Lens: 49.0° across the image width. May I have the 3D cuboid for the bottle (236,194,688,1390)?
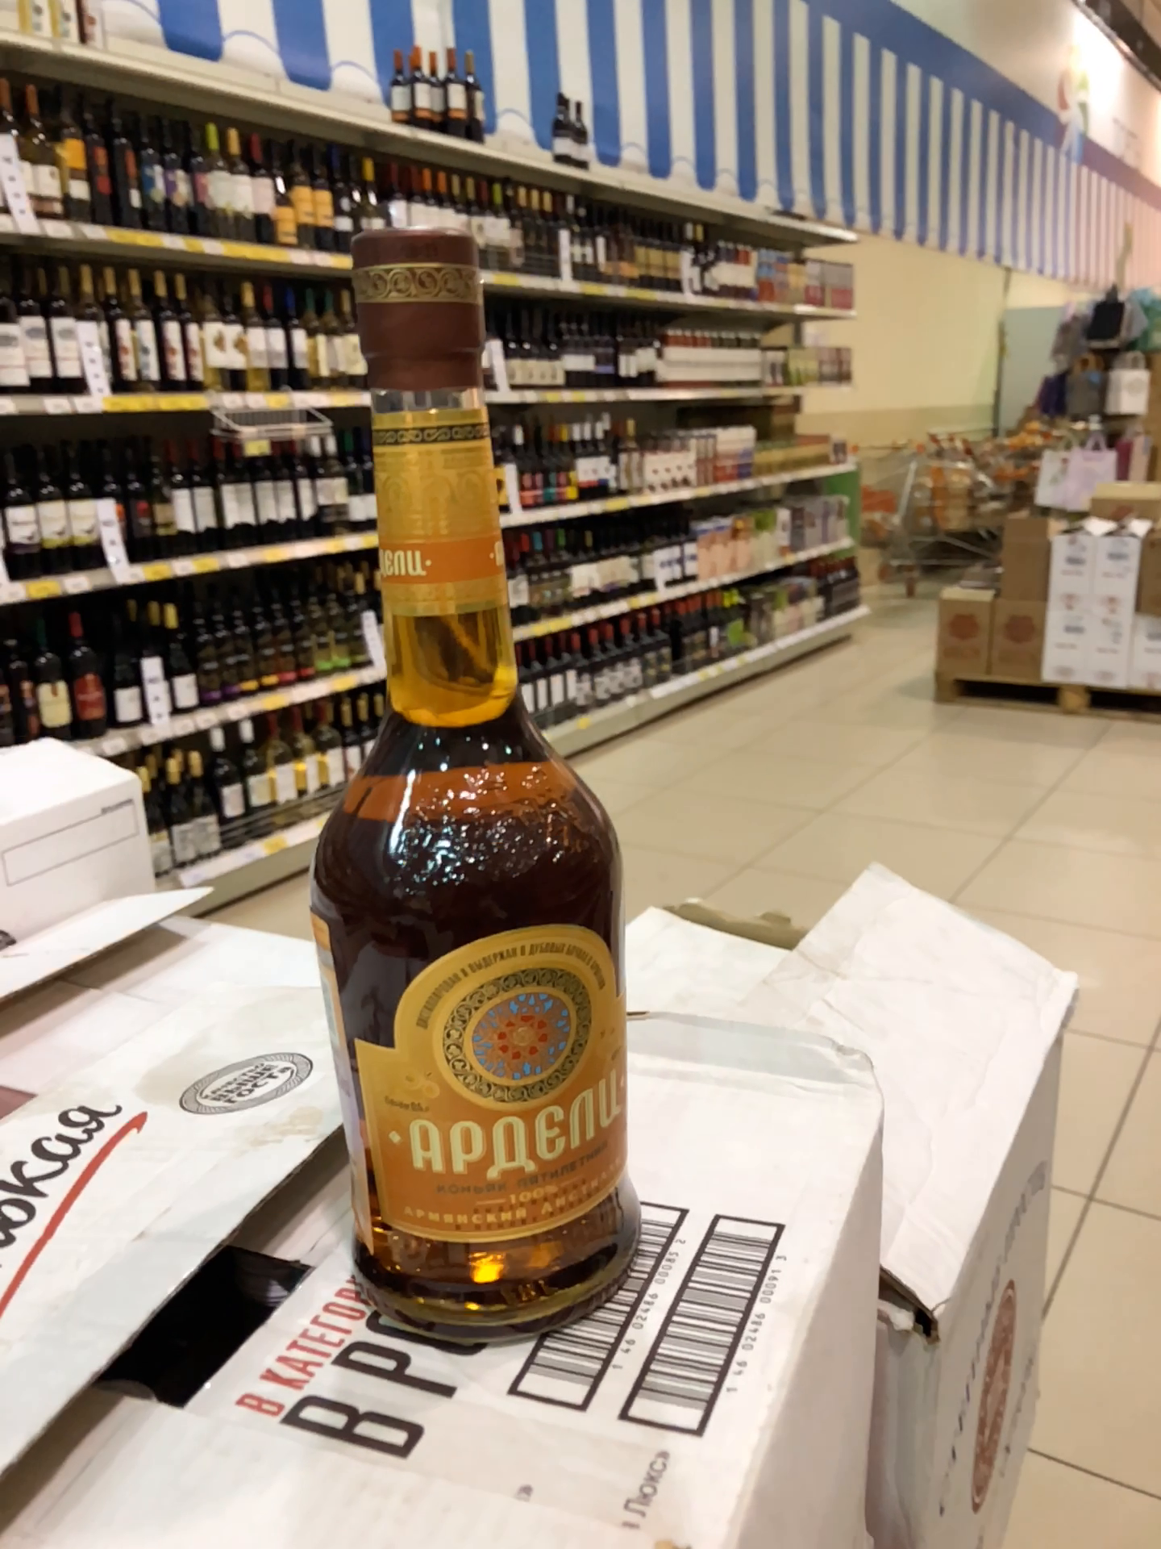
[{"bbox_3d":[-0.028,0.005,0.315,0.080,0.259,0.080,-2,15,0],"label":"bottle"}]
